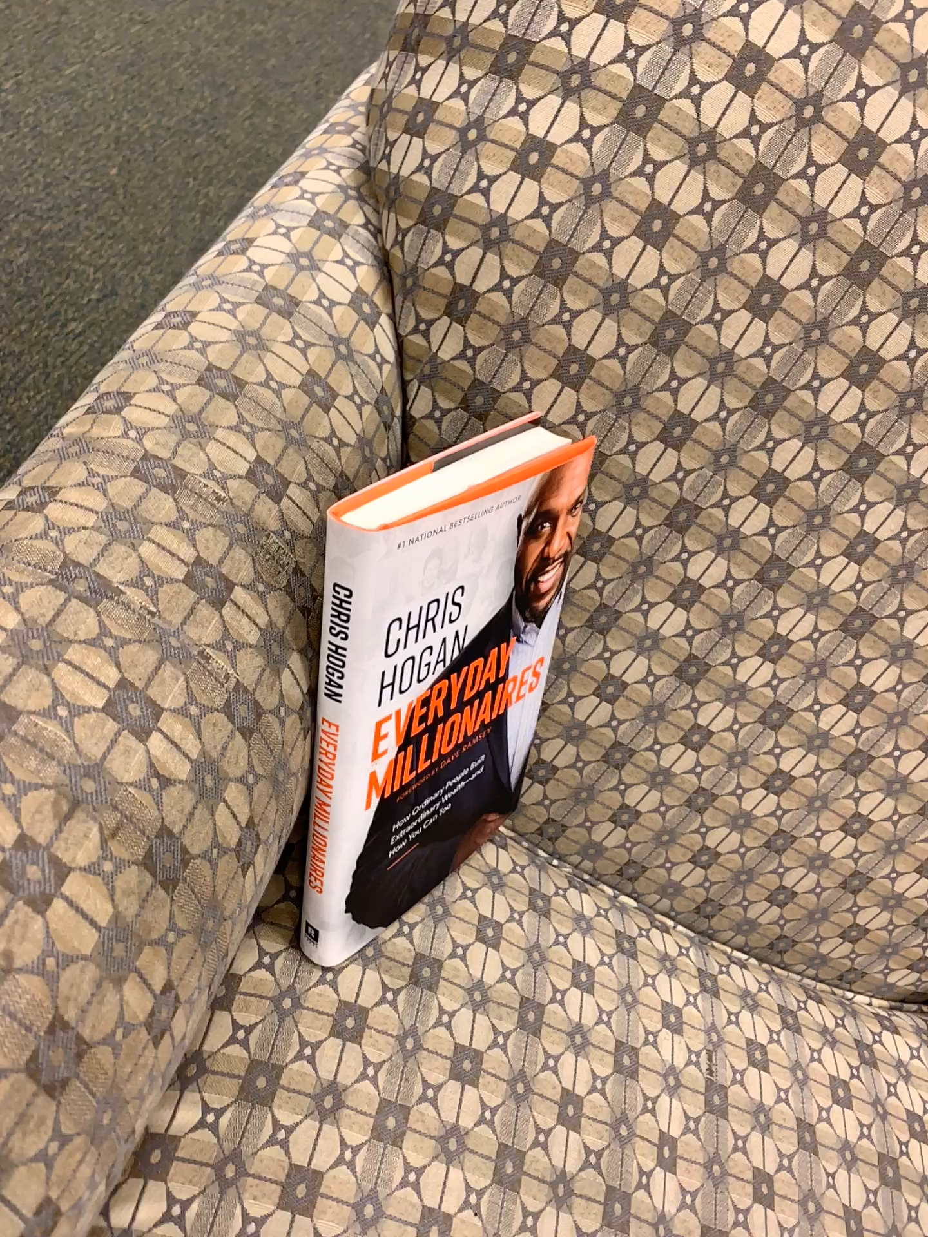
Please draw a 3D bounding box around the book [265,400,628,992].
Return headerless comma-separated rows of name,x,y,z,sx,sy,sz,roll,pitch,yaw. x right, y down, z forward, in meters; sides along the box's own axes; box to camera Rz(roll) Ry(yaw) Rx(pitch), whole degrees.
book,-0.012,0.036,0.441,0.038,0.244,0.161,31,38,29
